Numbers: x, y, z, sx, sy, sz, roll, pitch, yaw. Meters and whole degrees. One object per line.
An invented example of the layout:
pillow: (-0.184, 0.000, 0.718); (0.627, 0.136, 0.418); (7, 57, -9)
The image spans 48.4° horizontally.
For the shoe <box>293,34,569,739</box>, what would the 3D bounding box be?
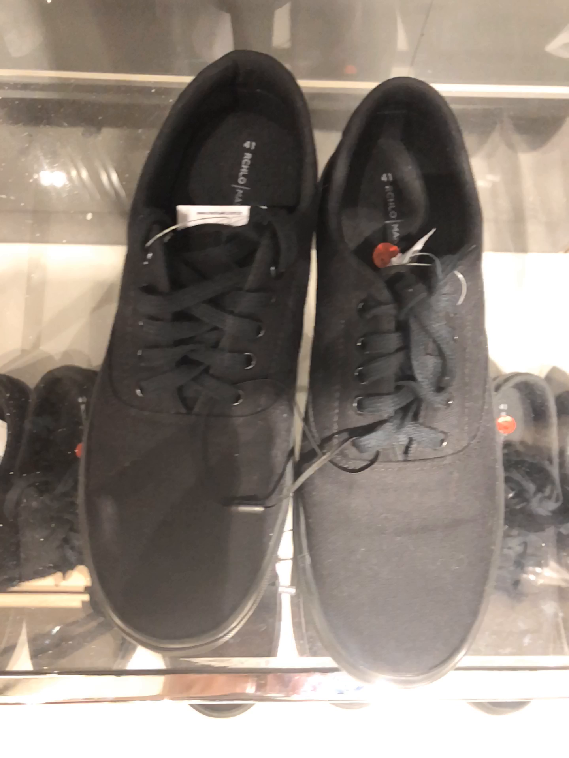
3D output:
shoe: (0.063, -0.004, 0.336); (0.110, 0.110, 0.320); (1, 77, -2)

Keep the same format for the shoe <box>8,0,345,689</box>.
shoe: (-0.041, -0.024, 0.343); (0.110, 0.110, 0.320); (6, 77, 0)
